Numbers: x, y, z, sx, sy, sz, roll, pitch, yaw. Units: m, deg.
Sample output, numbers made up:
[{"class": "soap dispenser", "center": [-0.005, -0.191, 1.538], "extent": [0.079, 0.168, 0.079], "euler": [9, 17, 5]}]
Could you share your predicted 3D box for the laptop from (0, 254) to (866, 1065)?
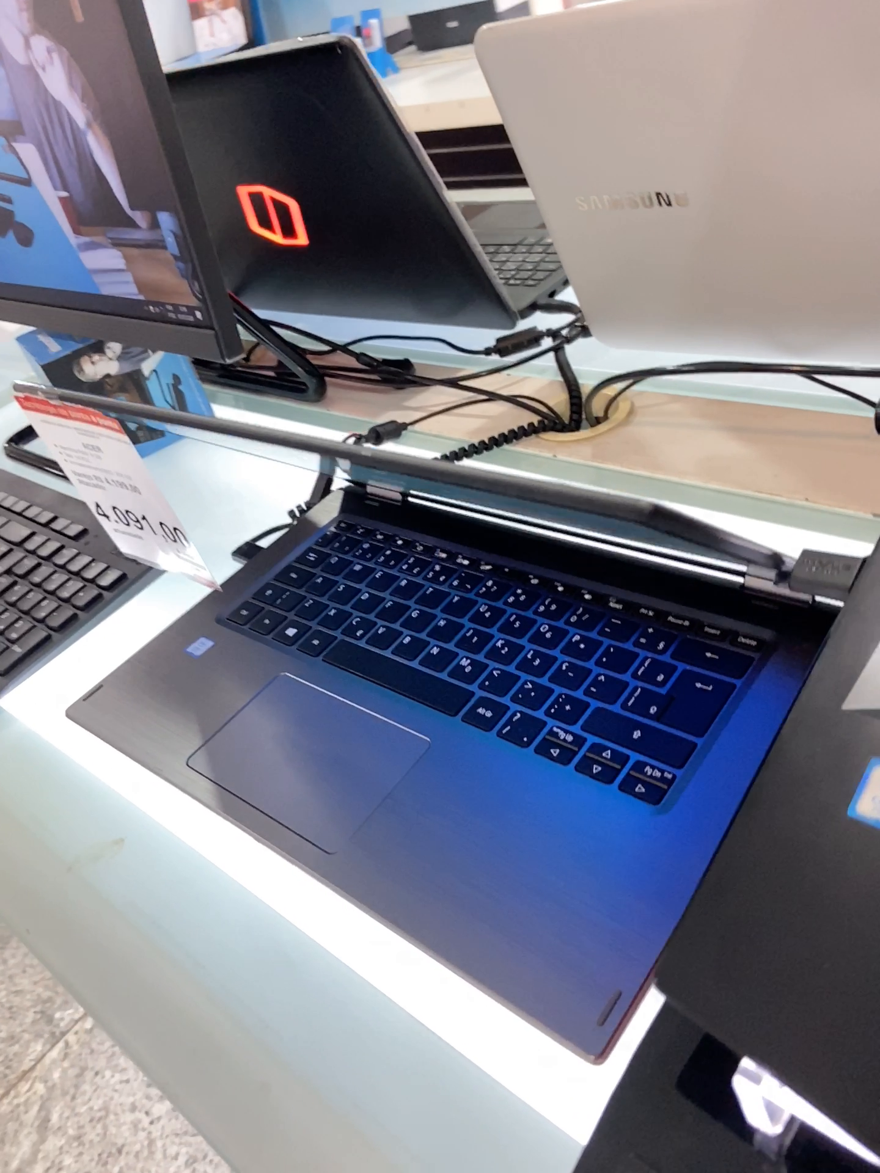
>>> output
[{"class": "laptop", "center": [-0.030, -0.019, 0.388], "extent": [0.329, 0.154, 0.219], "euler": [17, 49, 38]}]
